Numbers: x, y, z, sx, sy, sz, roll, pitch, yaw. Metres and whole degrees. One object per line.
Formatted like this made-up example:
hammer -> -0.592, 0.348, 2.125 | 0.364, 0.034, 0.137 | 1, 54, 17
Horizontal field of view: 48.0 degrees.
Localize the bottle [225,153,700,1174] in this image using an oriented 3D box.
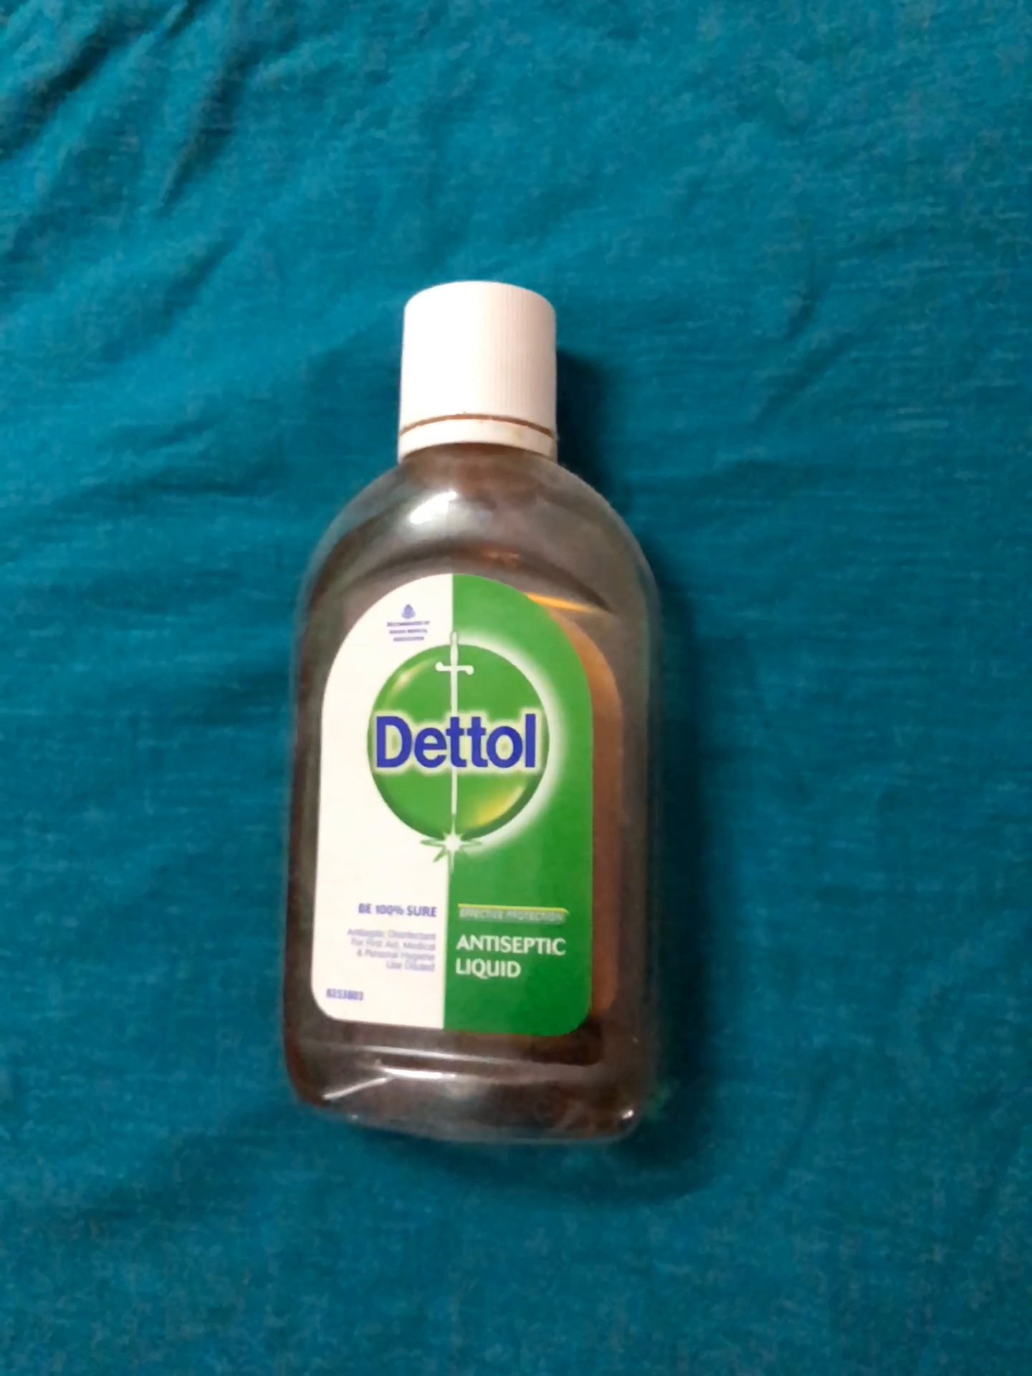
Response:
bottle -> -0.006, -0.007, 0.230 | 0.080, 0.040, 0.180 | 0, 82, 12
